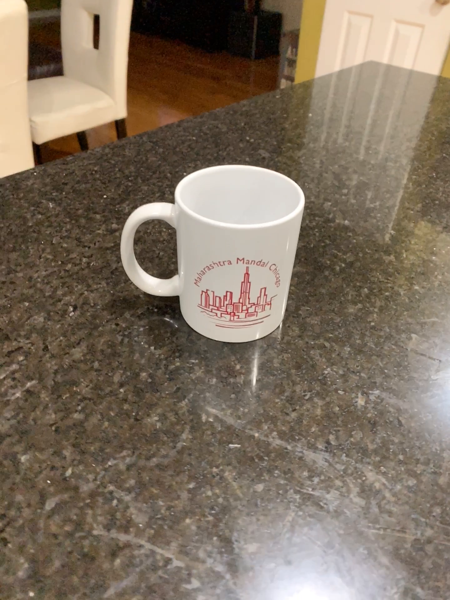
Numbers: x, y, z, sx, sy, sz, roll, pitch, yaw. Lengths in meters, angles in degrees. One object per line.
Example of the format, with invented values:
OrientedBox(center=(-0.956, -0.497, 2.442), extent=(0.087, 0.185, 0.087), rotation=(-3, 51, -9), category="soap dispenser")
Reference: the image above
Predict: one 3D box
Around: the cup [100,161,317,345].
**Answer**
OrientedBox(center=(-0.010, -0.033, 0.327), extent=(0.124, 0.097, 0.082), rotation=(2, 39, 0), category="cup")
